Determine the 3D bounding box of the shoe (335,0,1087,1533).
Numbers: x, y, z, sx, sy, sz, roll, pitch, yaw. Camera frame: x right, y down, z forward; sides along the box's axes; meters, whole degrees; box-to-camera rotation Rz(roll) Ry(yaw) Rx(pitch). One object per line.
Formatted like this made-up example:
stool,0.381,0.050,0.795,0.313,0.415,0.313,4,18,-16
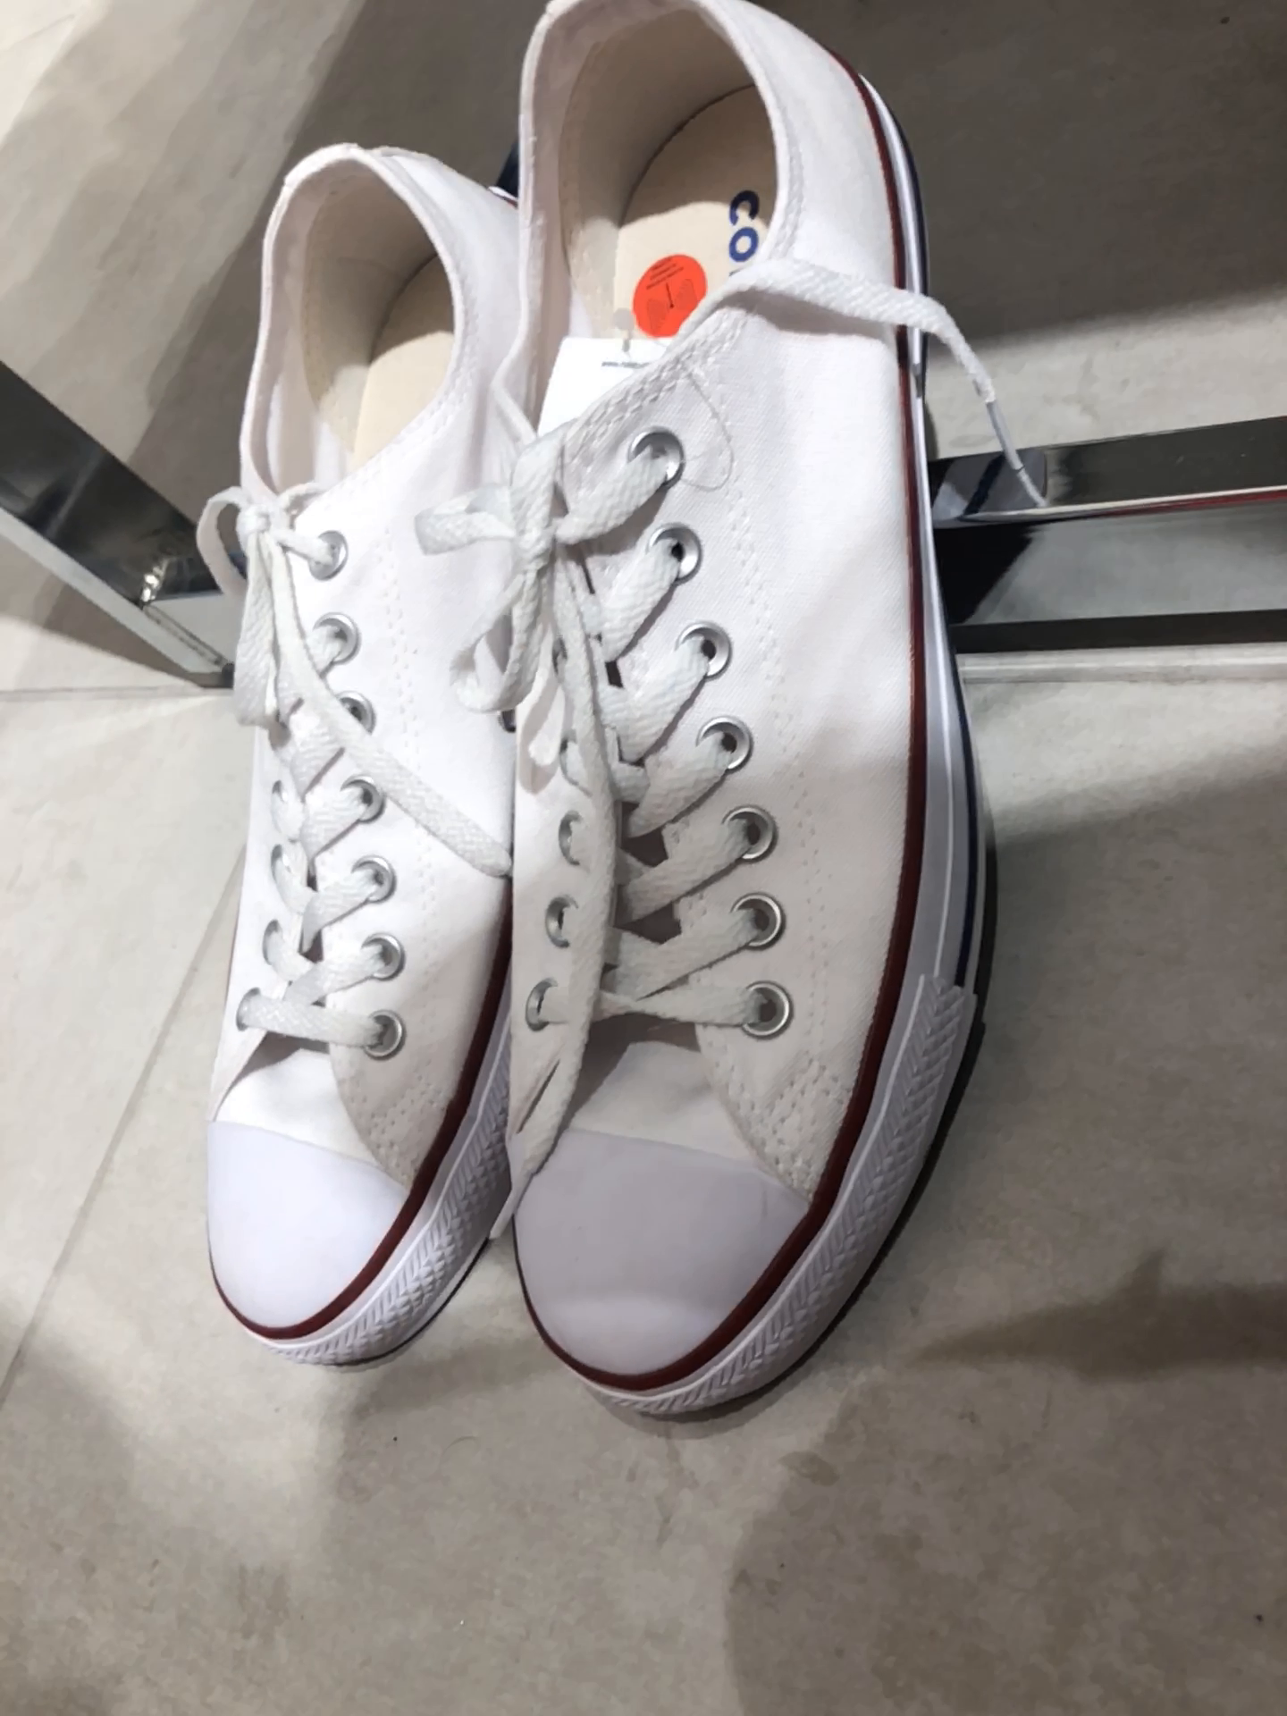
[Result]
shoe,0.017,-0.038,0.295,0.100,0.090,0.290,2,86,37

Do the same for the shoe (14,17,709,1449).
shoe,-0.069,-0.027,0.356,0.110,0.090,0.290,4,88,38
